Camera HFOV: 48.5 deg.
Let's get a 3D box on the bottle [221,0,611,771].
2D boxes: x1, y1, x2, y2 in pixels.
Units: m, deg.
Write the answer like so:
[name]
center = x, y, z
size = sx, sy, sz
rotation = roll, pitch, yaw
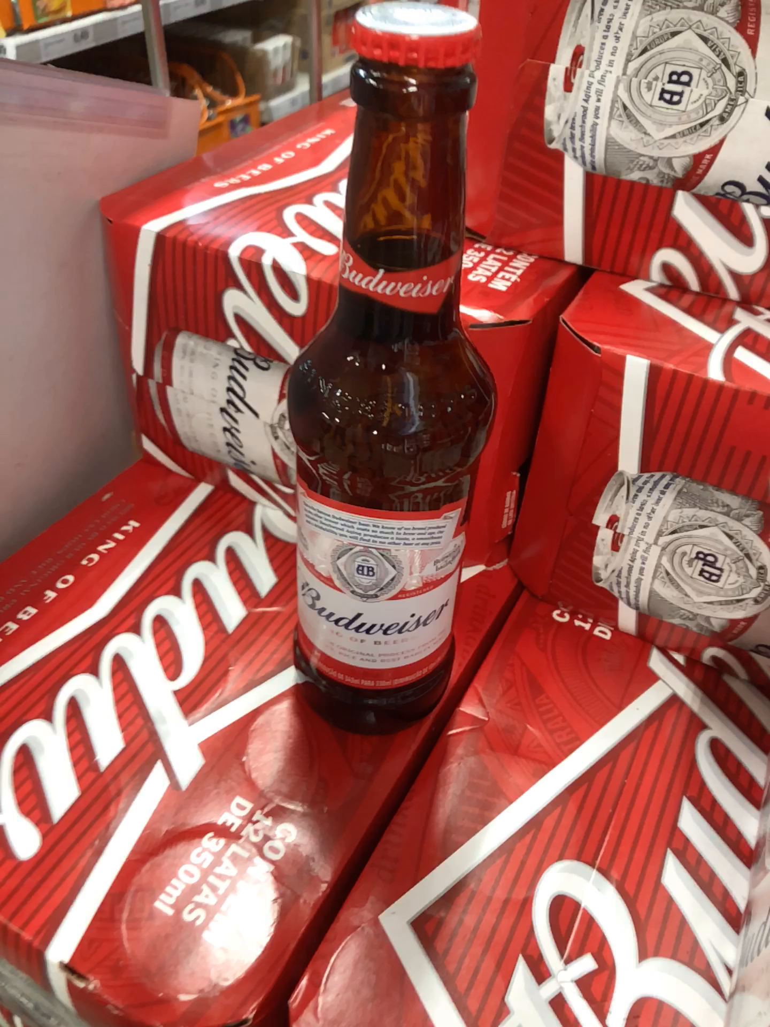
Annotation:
[bottle]
center = 0.004, -0.021, 0.257
size = 0.070, 0.228, 0.060
rotation = 13, 42, 11
